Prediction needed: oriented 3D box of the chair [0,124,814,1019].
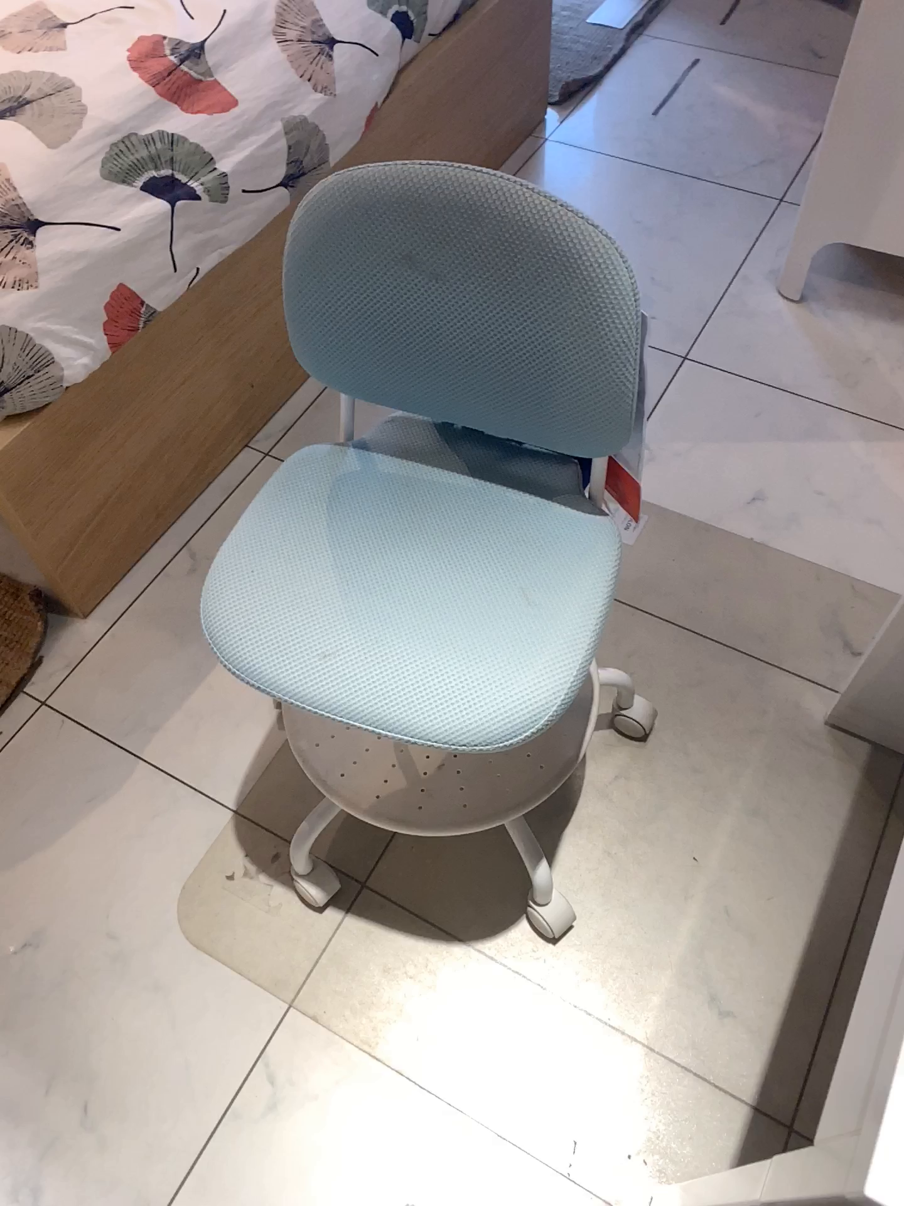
[{"bbox_3d":[-0.029,-0.007,1.089,0.601,0.718,0.621,16,58,13],"label":"chair"}]
